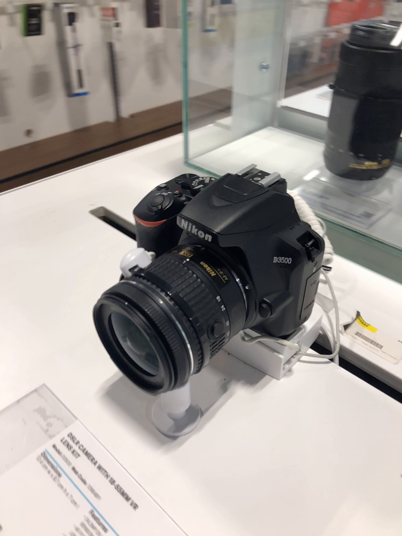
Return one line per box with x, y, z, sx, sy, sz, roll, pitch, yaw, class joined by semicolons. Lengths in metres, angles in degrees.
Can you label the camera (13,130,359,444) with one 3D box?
-0.006;-0.006;0.263;0.131;0.089;0.130;28;44;32;camera
